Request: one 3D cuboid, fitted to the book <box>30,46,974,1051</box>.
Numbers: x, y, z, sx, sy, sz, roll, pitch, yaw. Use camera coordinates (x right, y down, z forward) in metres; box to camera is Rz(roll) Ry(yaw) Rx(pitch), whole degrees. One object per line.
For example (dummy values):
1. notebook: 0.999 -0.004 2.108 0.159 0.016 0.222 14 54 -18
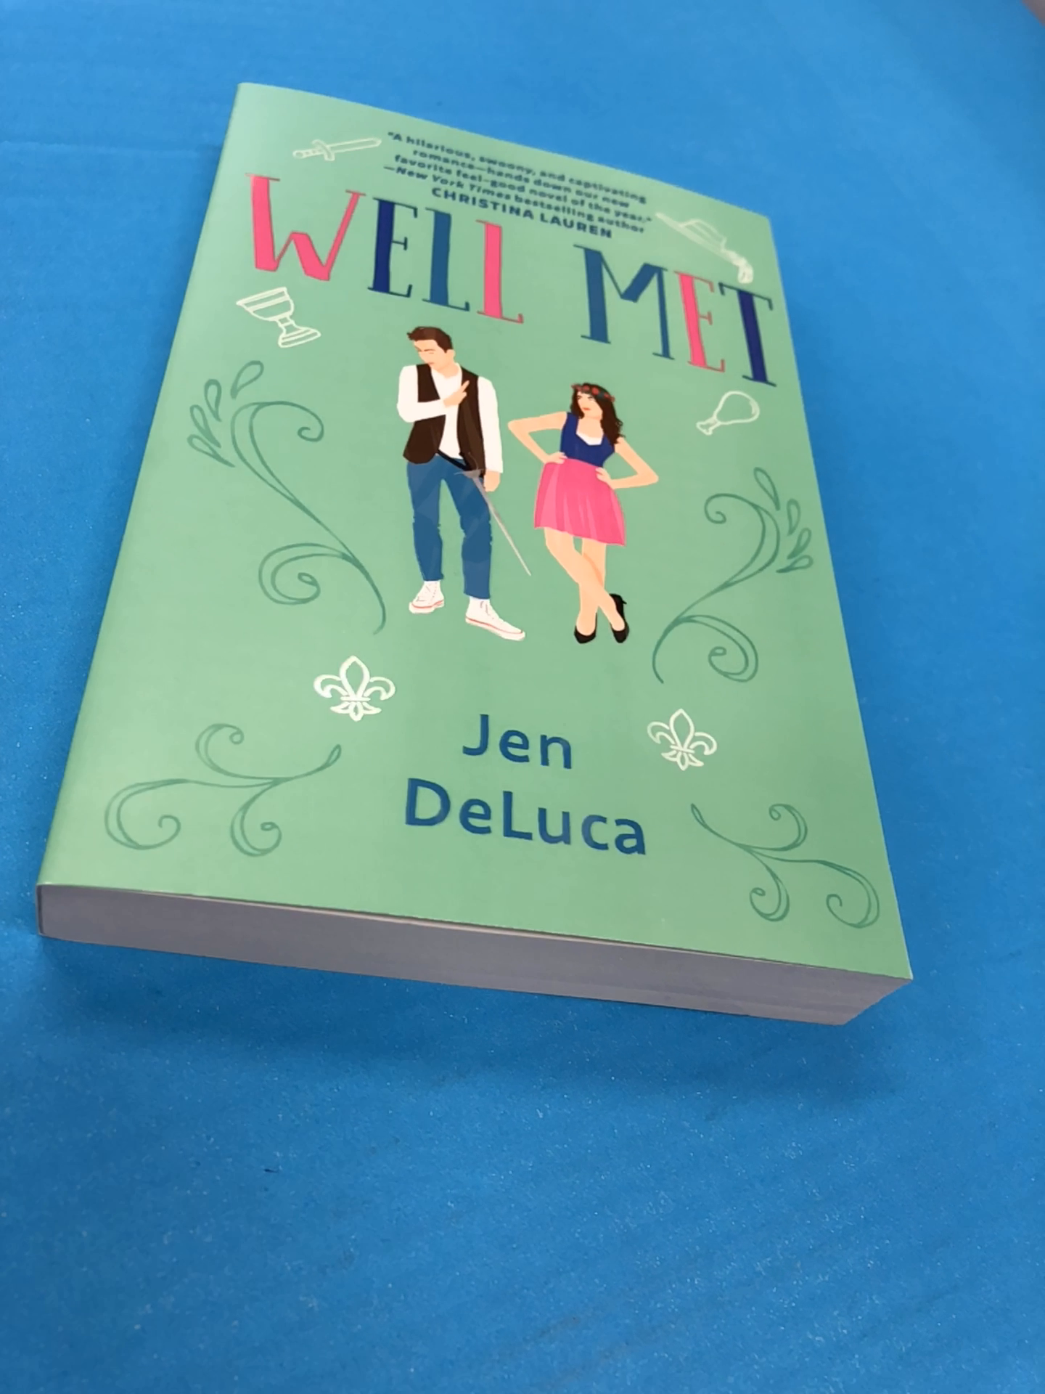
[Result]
1. book: 0.000 -0.044 0.247 0.146 0.030 0.216 10 55 -14
